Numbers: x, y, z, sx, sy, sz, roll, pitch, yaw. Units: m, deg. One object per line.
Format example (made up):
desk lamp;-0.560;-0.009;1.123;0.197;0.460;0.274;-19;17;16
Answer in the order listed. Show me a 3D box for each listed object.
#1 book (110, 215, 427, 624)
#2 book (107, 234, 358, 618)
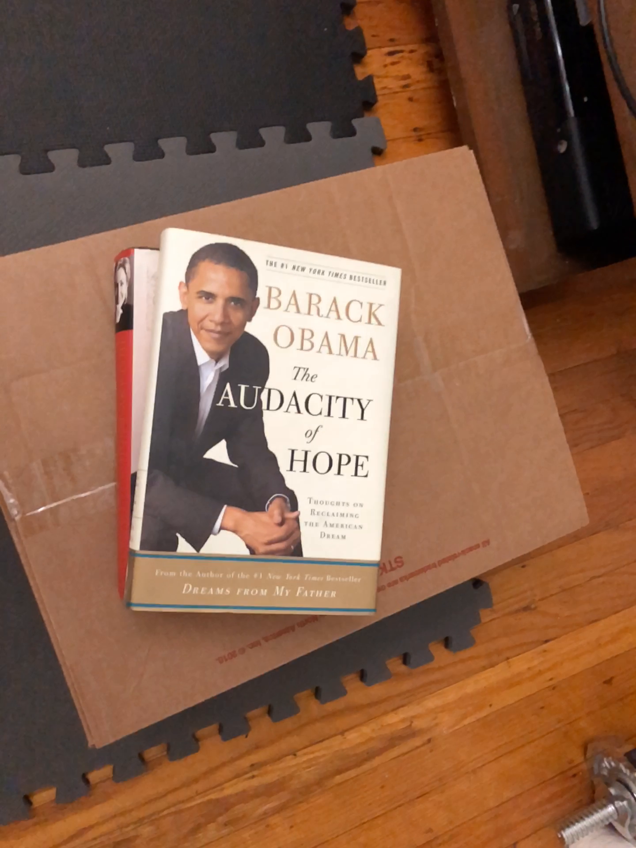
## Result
book;-0.030;0.003;0.477;0.190;0.040;0.250;6;86;-17
book;-0.061;0.000;0.500;0.170;0.040;0.250;0;88;-18
